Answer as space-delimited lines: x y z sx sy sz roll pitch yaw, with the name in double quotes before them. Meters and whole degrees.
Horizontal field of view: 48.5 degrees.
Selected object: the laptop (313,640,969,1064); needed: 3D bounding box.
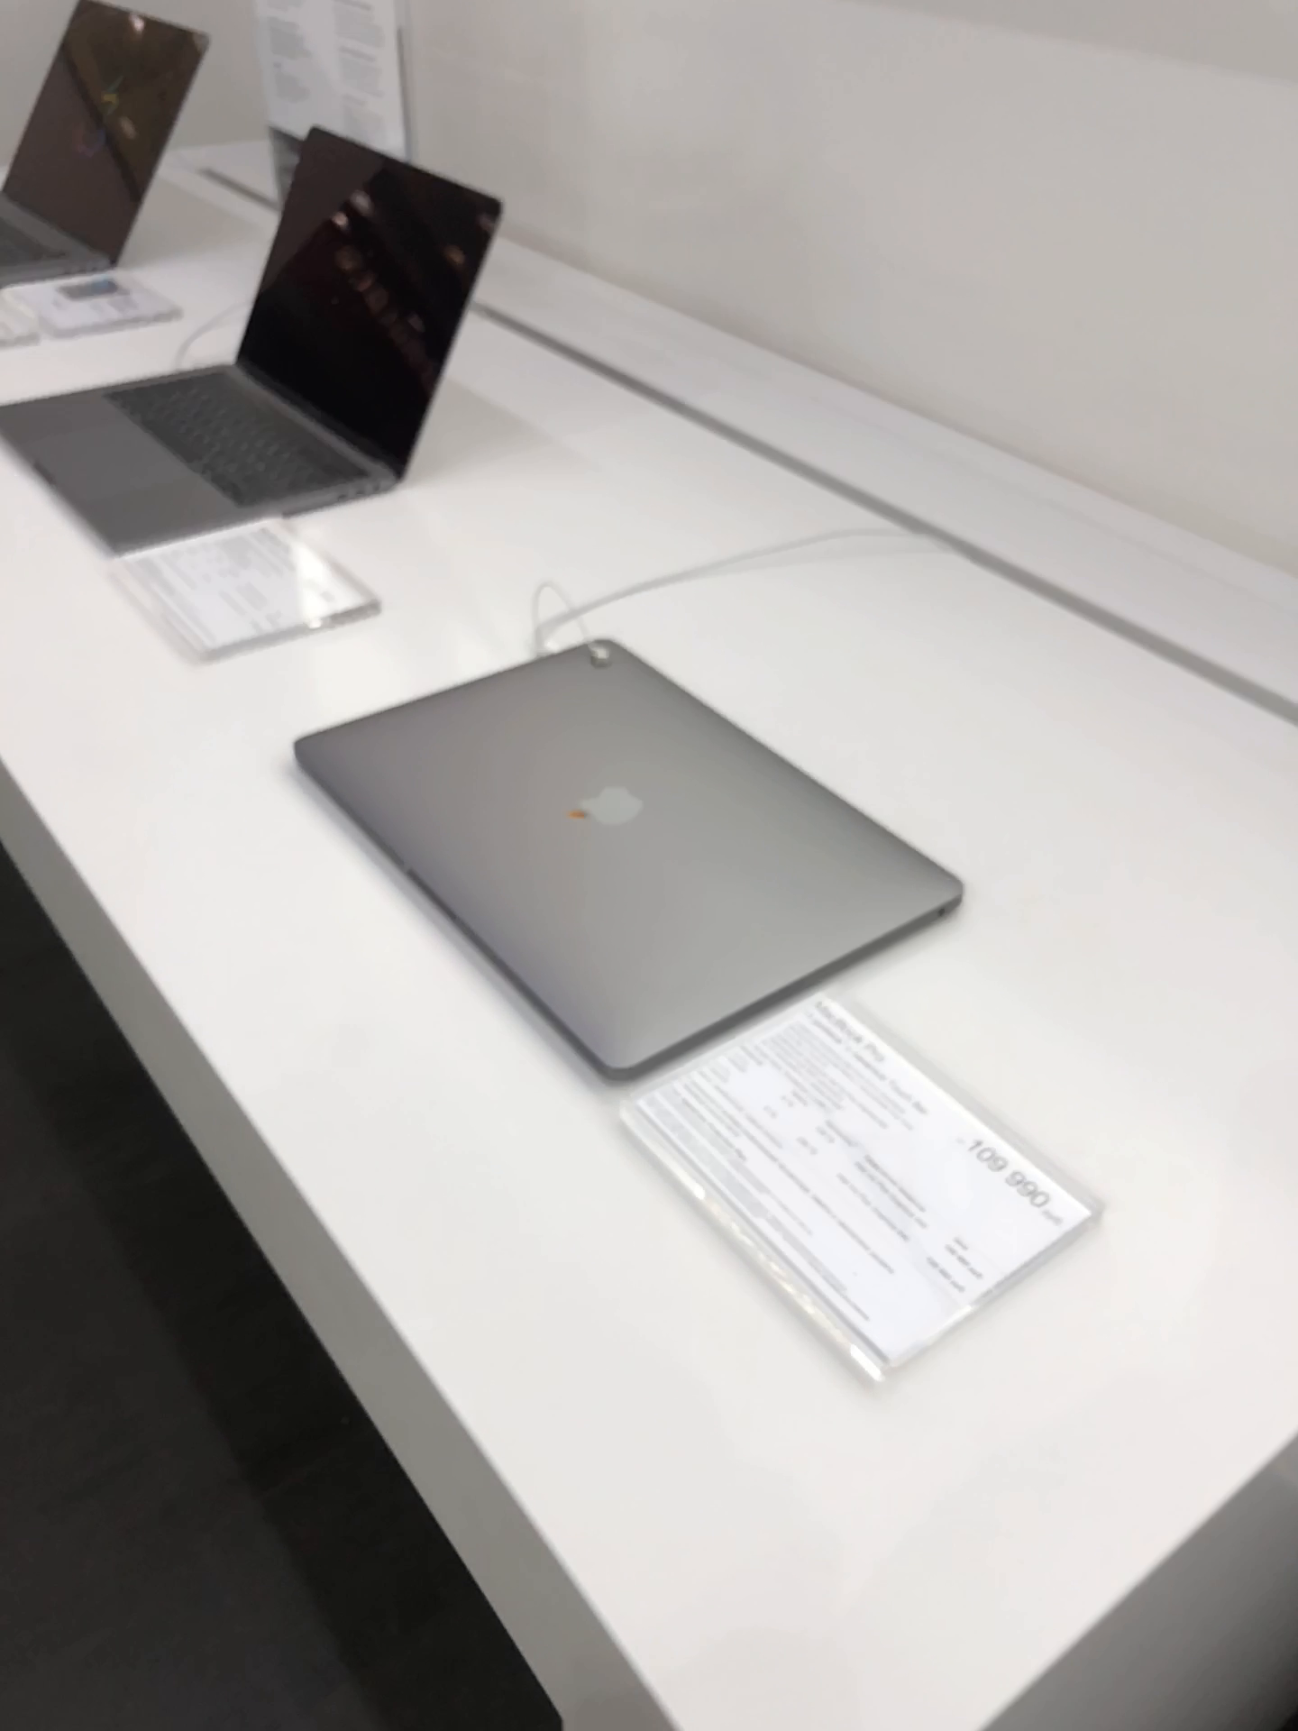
"laptop" -0.015 -0.027 0.731 0.199 0.001 0.294 -23 44 -28
